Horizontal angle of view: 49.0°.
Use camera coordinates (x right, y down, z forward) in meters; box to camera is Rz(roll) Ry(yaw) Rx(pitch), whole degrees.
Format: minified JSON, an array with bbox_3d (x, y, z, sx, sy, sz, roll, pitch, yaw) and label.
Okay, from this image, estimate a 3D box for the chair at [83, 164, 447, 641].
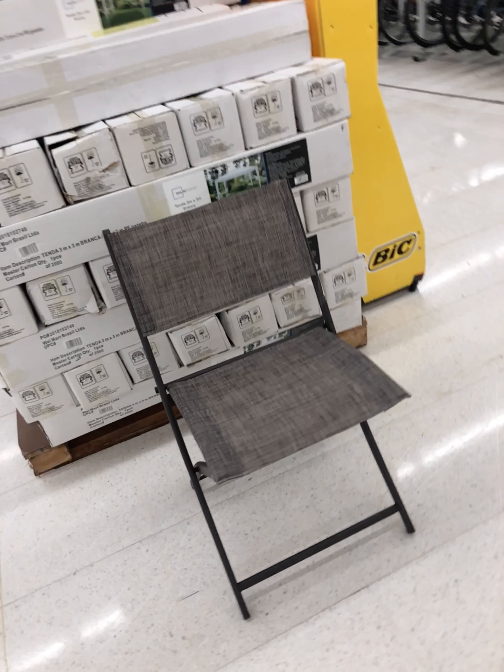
[{"bbox_3d":[0.042,0.121,1.210,0.511,0.754,0.503,-21,34,-14],"label":"chair"}]
